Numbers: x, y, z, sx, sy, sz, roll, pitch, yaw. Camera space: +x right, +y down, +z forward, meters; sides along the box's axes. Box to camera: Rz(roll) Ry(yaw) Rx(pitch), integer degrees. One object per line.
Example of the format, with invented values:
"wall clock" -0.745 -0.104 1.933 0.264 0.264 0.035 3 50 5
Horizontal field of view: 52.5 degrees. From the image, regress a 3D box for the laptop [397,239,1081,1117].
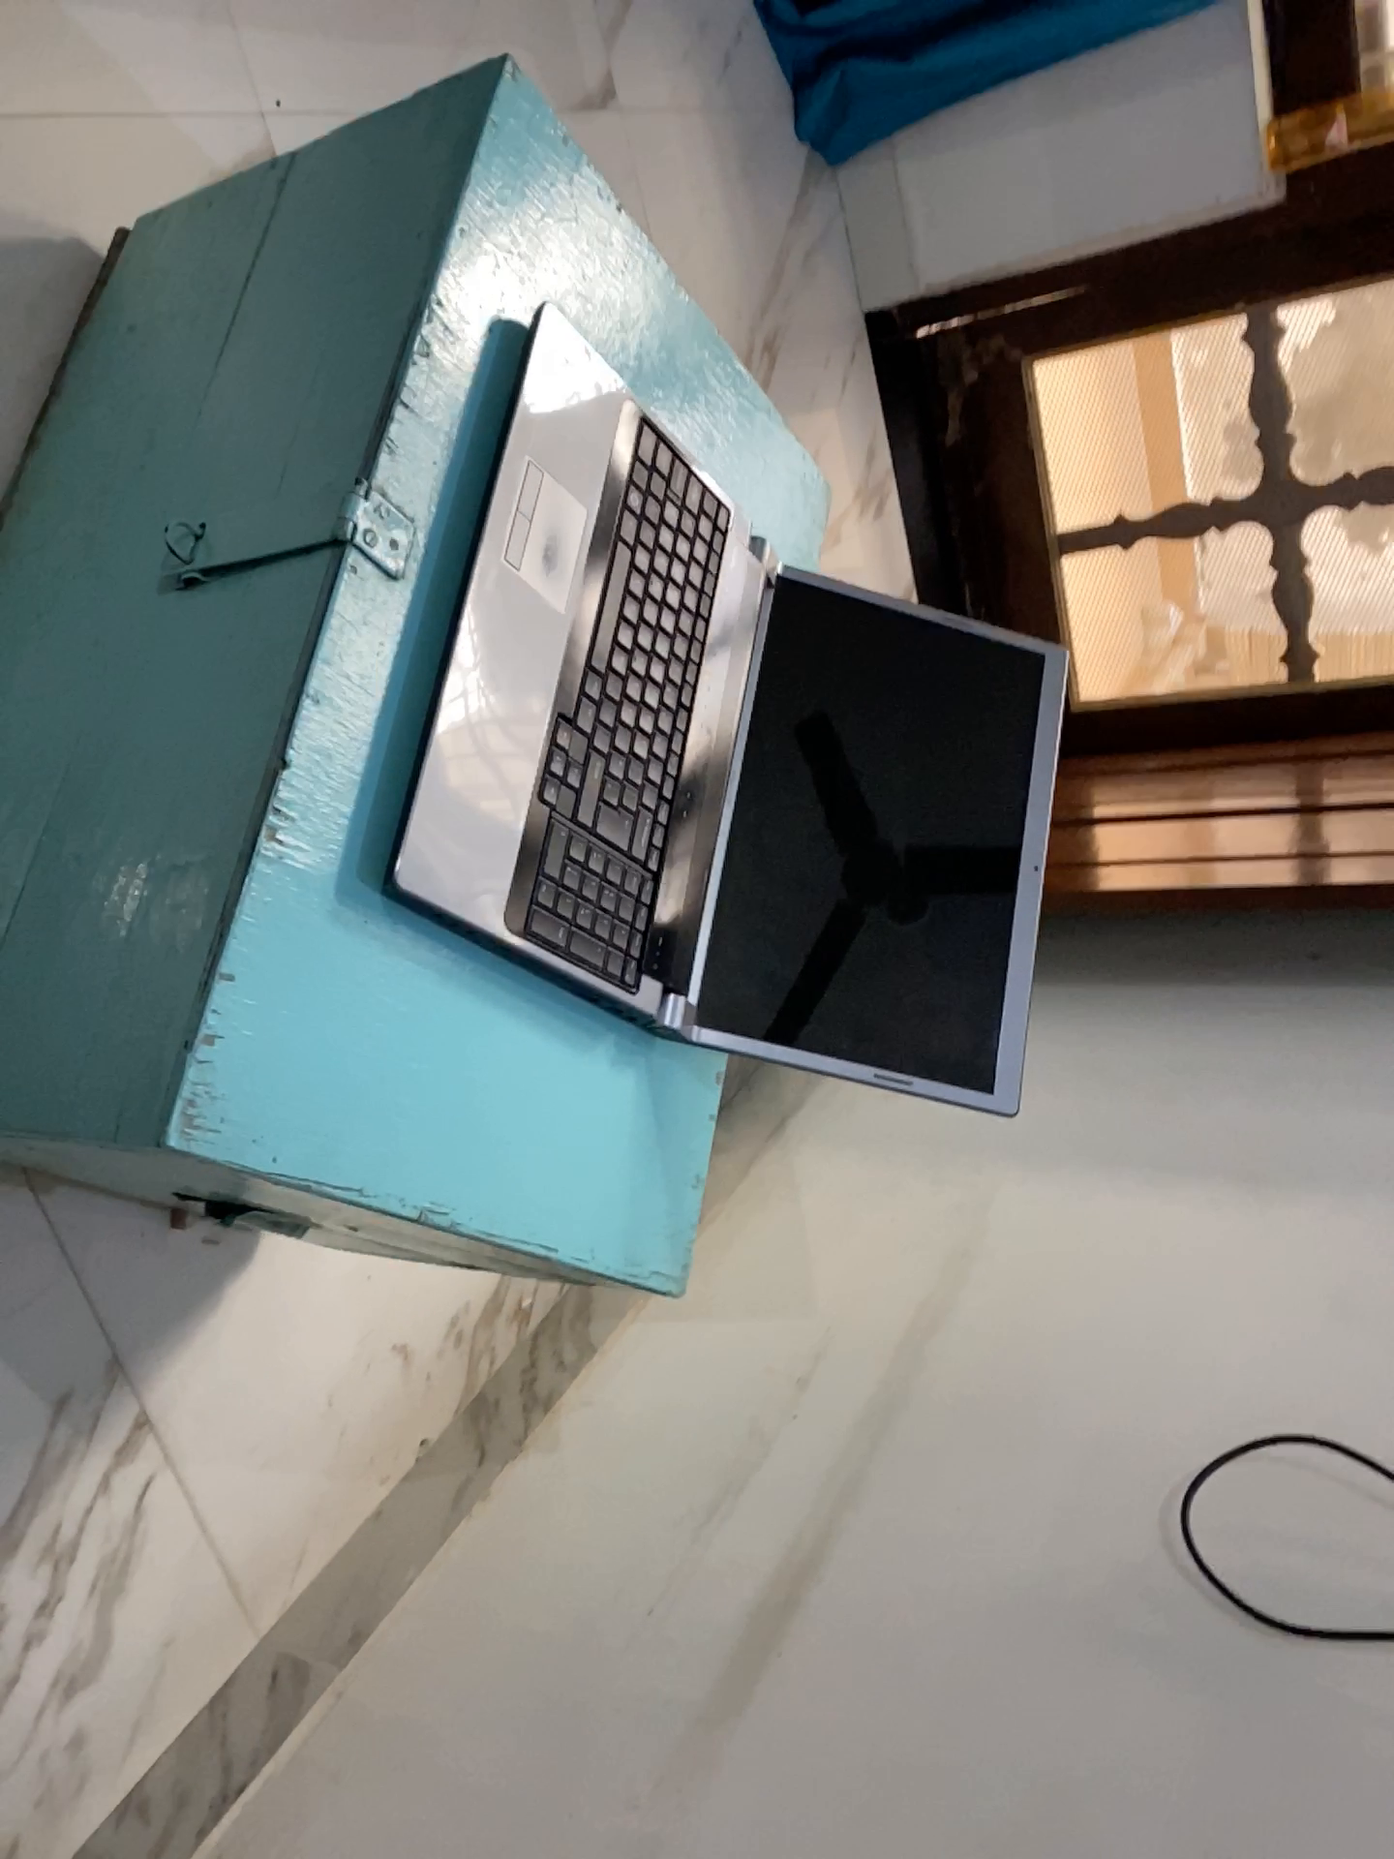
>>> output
"laptop" 0.076 -0.123 0.966 0.481 0.178 0.389 33 62 -51
